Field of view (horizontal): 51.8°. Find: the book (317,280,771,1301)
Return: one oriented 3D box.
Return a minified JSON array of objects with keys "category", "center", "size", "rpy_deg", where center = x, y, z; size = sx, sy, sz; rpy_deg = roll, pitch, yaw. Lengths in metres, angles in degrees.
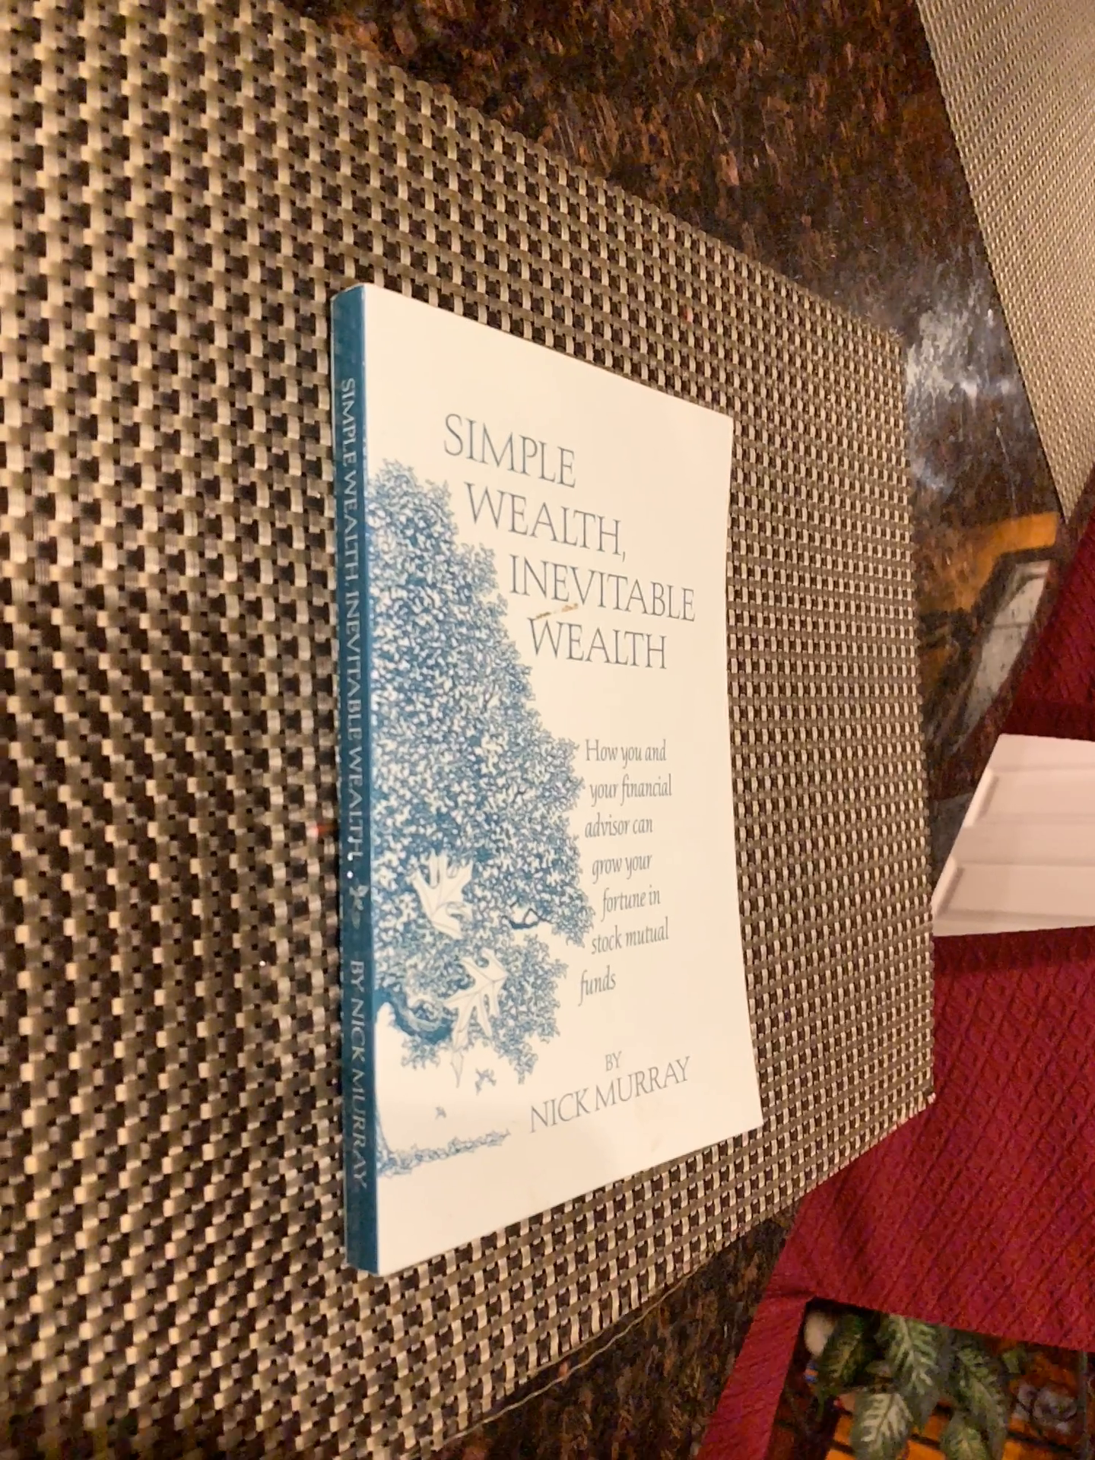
[{"category":"book","center":[0.007,0.012,0.290],"size":[0.141,0.021,0.210],"rpy_deg":[0,88,-46]}]
